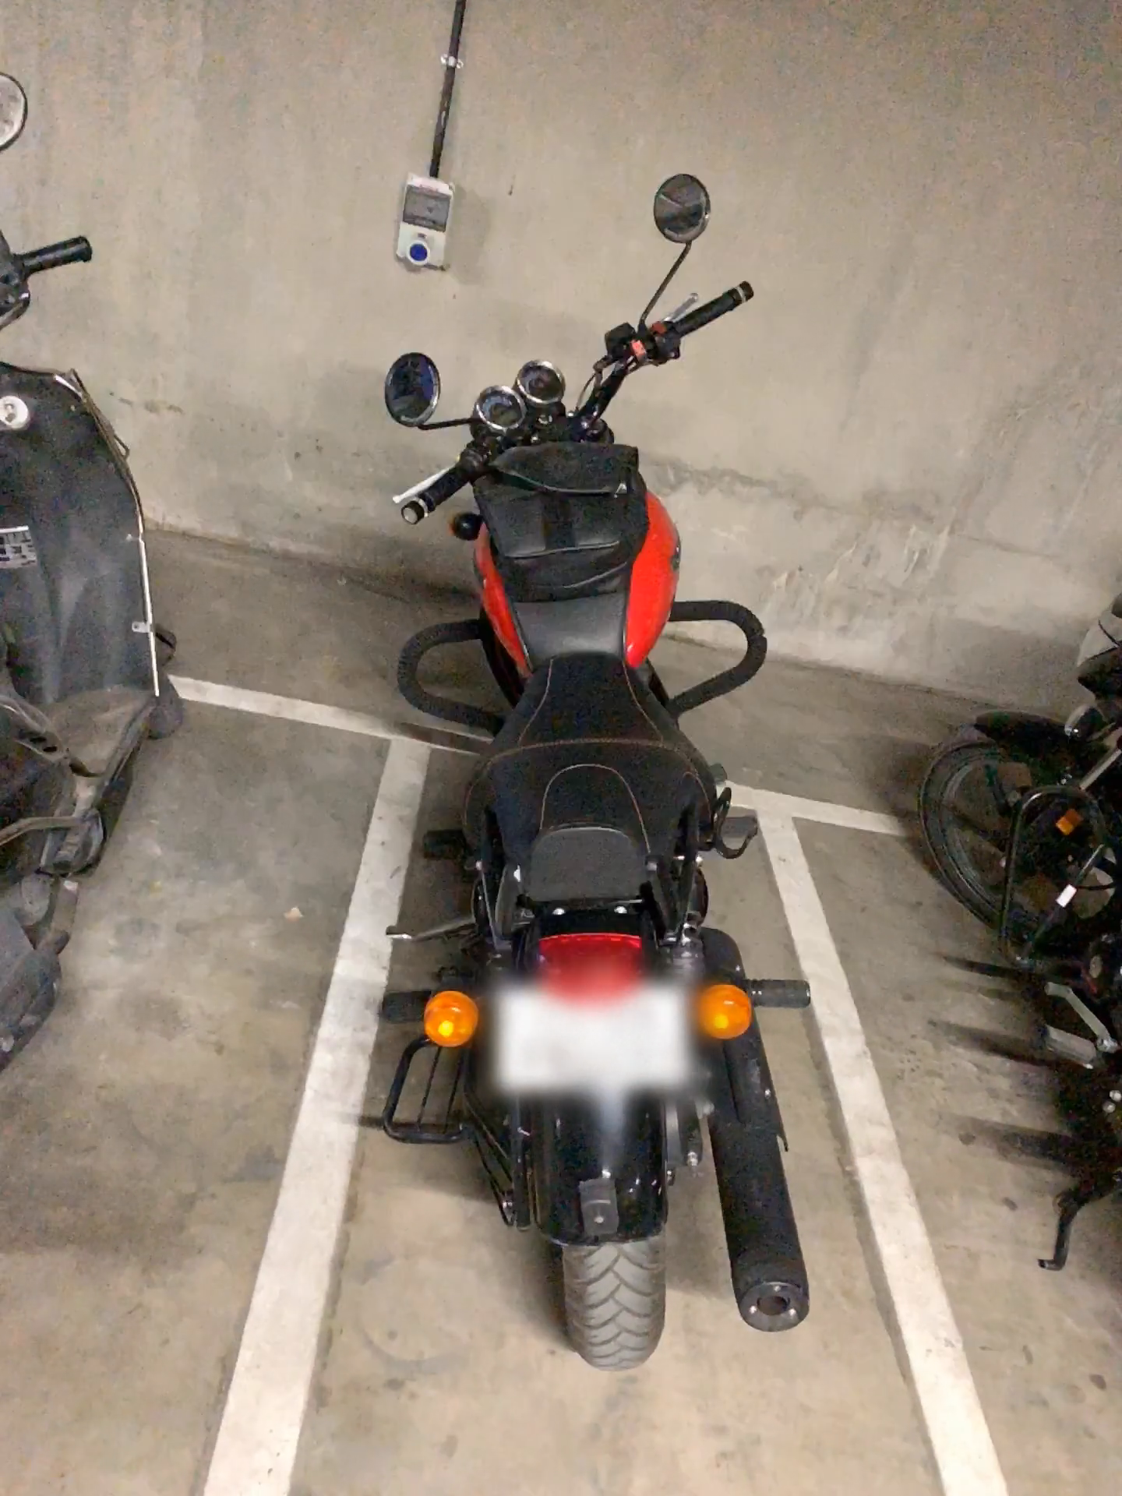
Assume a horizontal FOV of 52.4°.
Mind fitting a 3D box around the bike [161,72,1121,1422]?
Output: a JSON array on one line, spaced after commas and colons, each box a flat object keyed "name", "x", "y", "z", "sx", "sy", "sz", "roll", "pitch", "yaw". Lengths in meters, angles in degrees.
[{"name": "bike", "x": -0.110, "y": -0.194, "z": 1.947, "sx": 0.828, "sy": 1.302, "sz": 1.844, "roll": 6, "pitch": 33, "yaw": -16}]
